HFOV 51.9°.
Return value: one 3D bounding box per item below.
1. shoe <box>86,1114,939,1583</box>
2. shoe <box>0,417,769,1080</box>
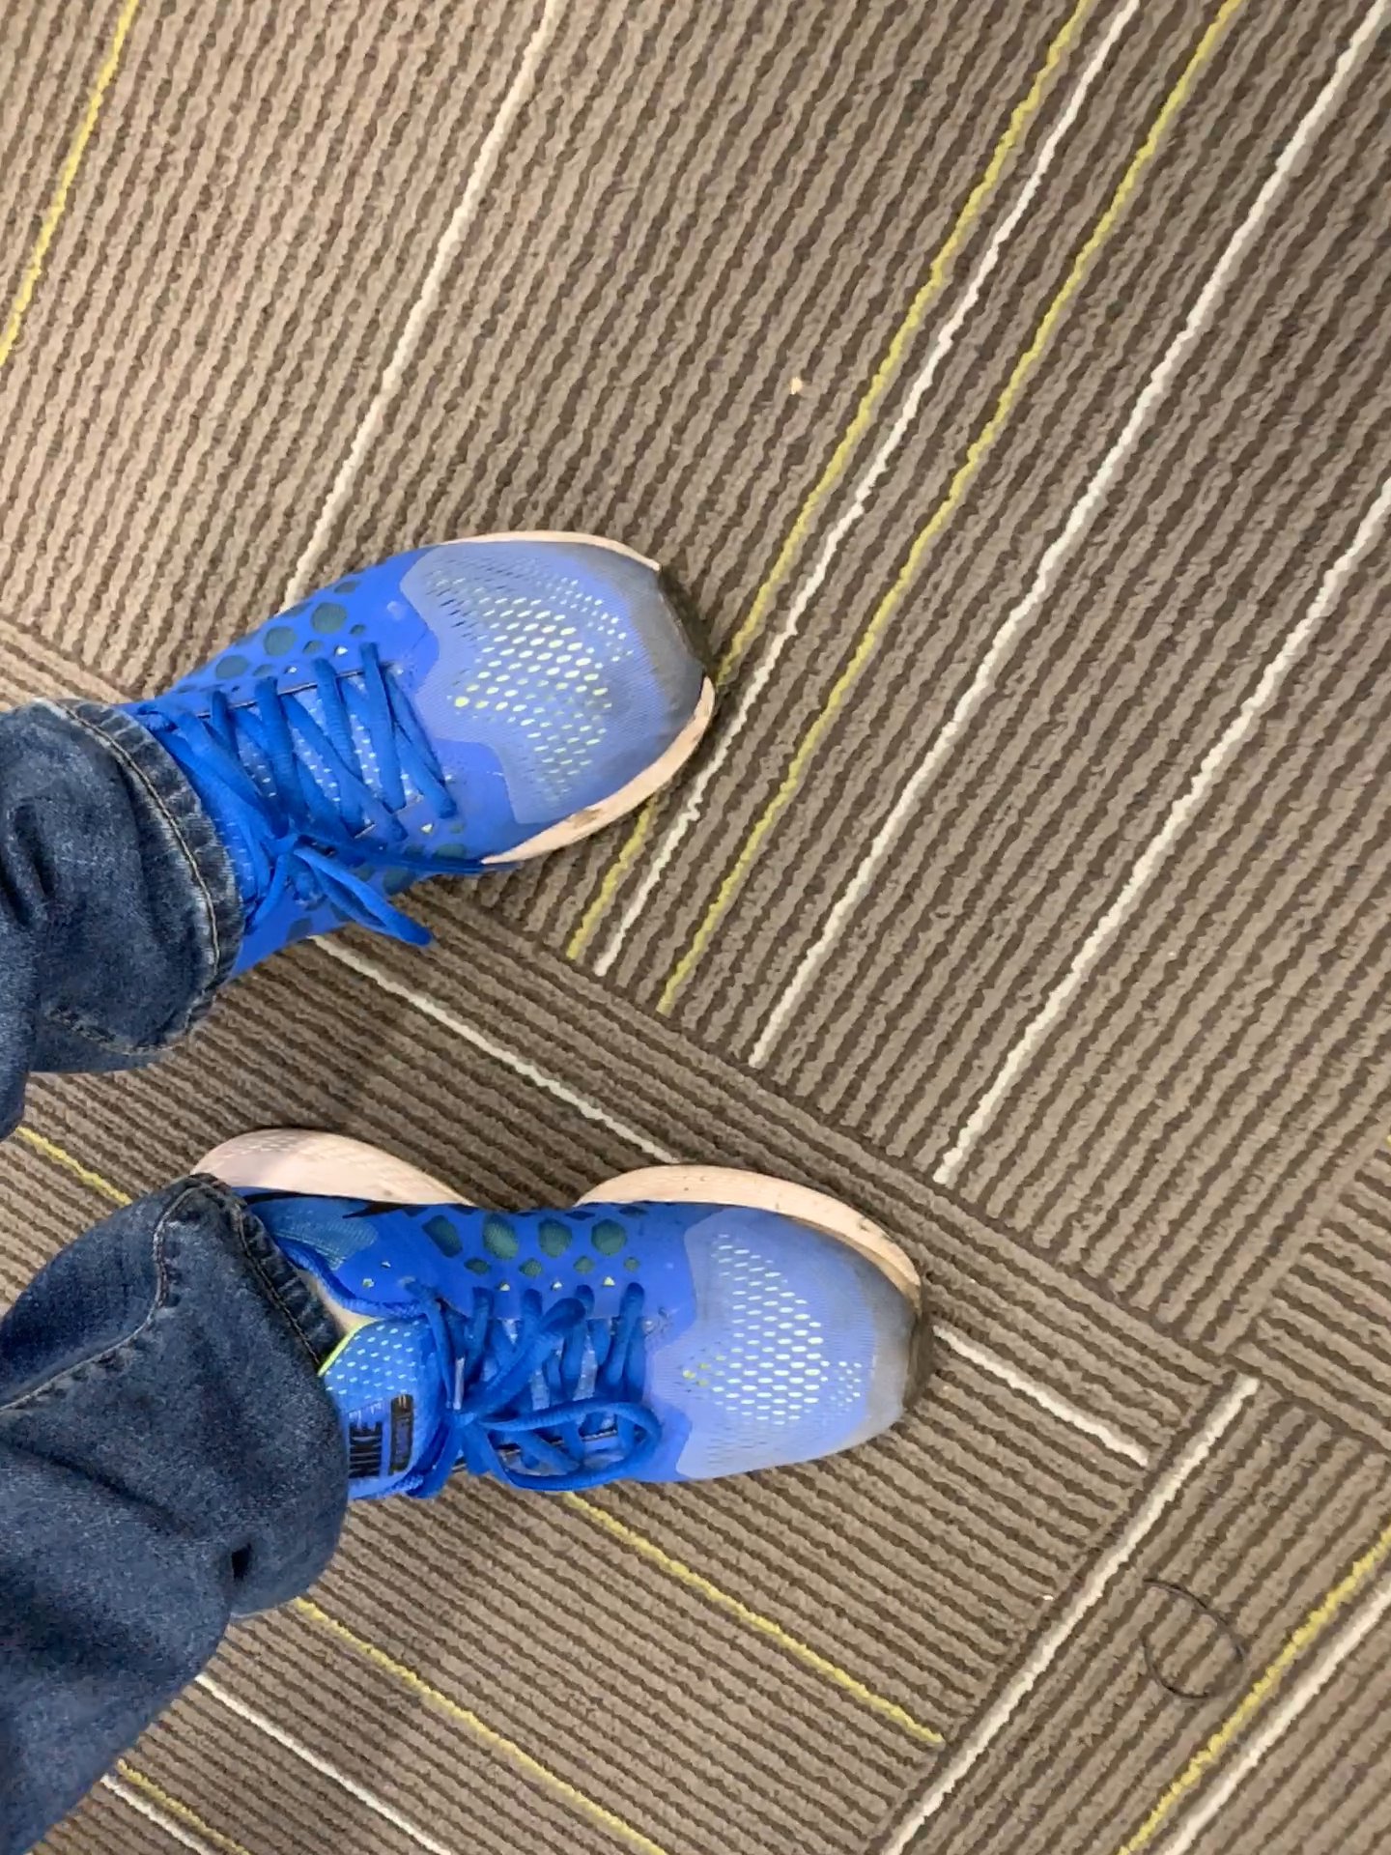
[{"bbox_3d":[-0.065,0.146,0.532,0.300,0.077,0.129,-1,99,14],"label":"shoe"},{"bbox_3d":[-0.139,-0.056,0.521,0.298,0.077,0.125,-20,94,17],"label":"shoe"}]
